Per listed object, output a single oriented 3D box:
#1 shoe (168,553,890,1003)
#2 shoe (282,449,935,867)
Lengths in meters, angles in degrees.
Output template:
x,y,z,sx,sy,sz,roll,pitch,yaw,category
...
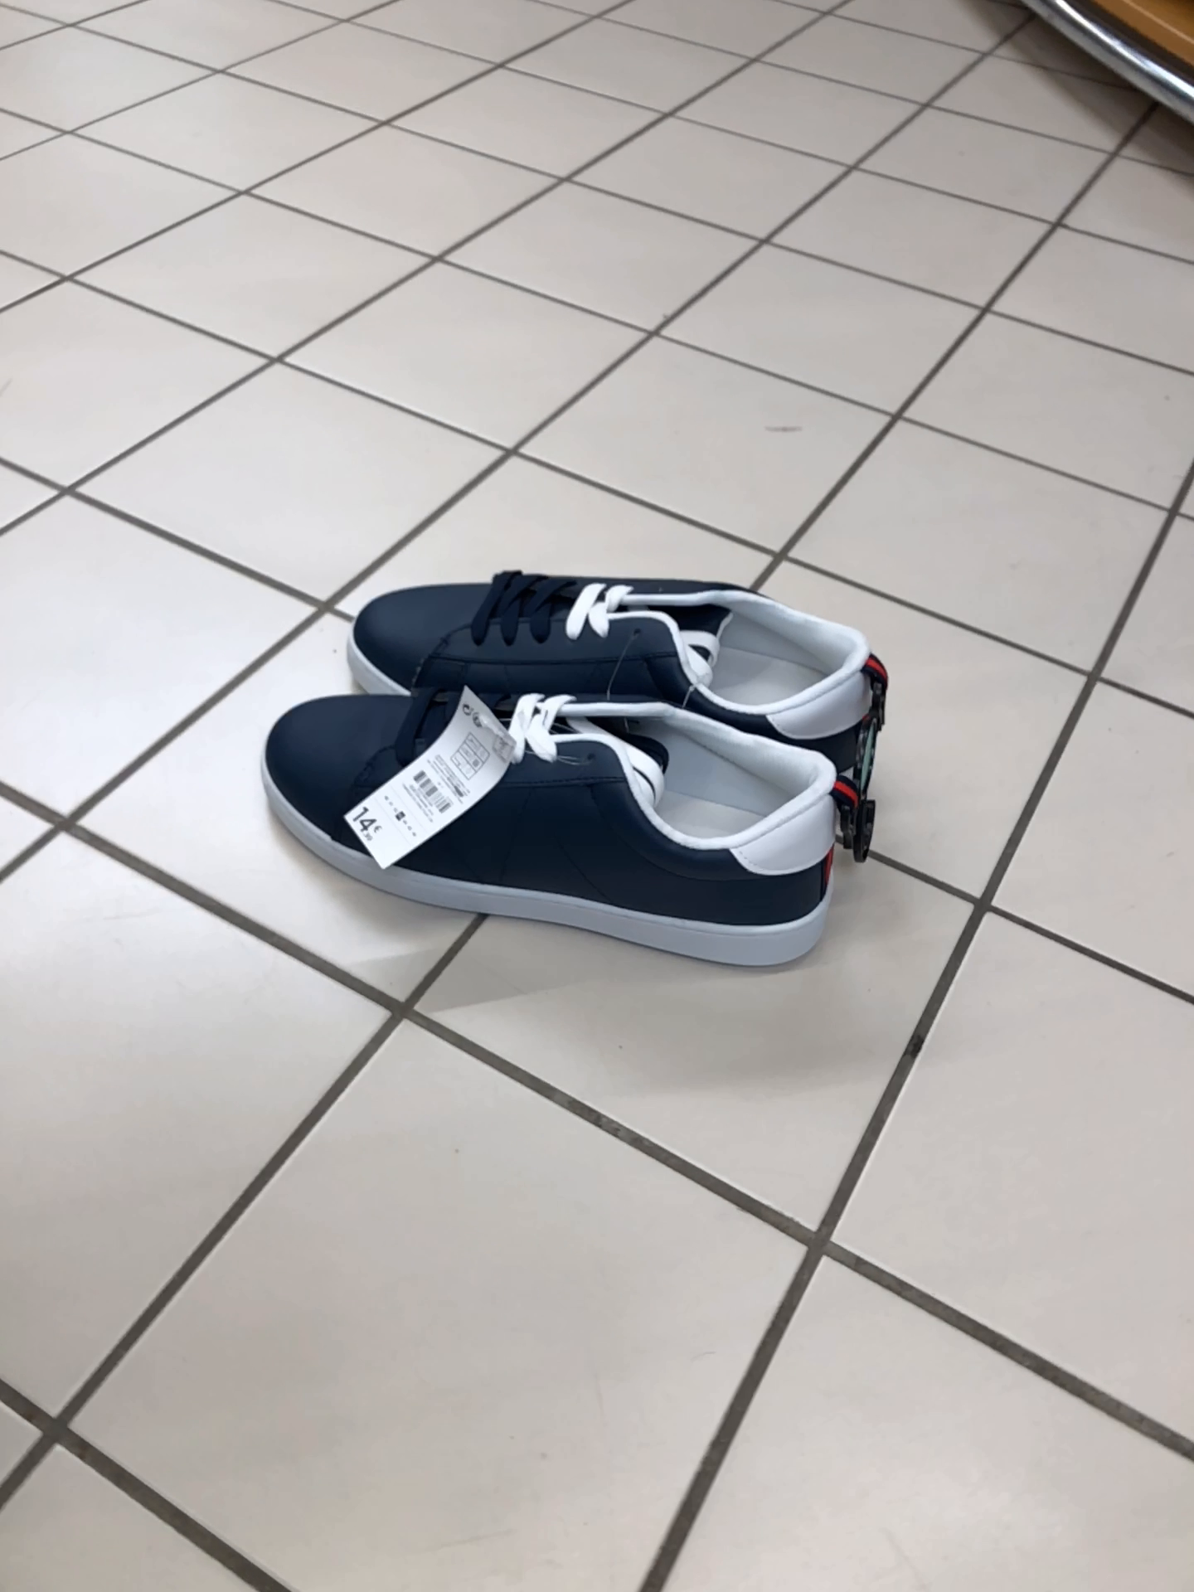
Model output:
x,y,z,sx,sy,sz,roll,pitch,yaw,category
-0.028,-0.011,0.596,0.290,0.099,0.101,13,47,8,shoe
0.005,-0.072,0.653,0.290,0.099,0.101,15,47,9,shoe
